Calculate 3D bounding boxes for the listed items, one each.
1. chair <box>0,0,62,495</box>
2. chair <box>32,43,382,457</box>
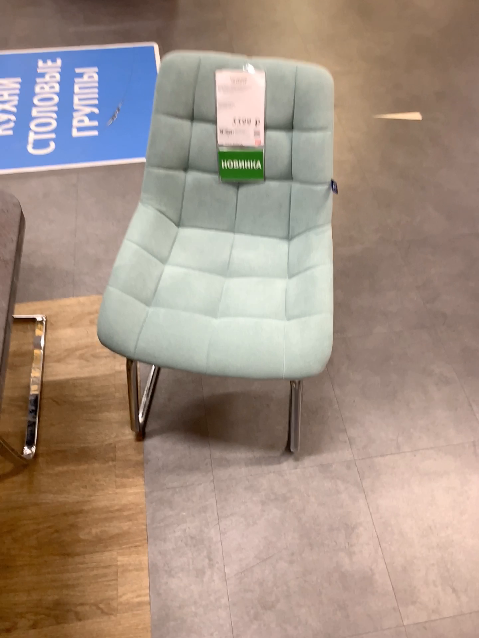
[{"bbox_3d":[-0.819,-0.070,1.065,0.510,1.006,0.572,-4,55,-4],"label":"chair"},{"bbox_3d":[-0.030,-0.097,1.204,0.510,0.827,0.552,6,55,3],"label":"chair"}]
